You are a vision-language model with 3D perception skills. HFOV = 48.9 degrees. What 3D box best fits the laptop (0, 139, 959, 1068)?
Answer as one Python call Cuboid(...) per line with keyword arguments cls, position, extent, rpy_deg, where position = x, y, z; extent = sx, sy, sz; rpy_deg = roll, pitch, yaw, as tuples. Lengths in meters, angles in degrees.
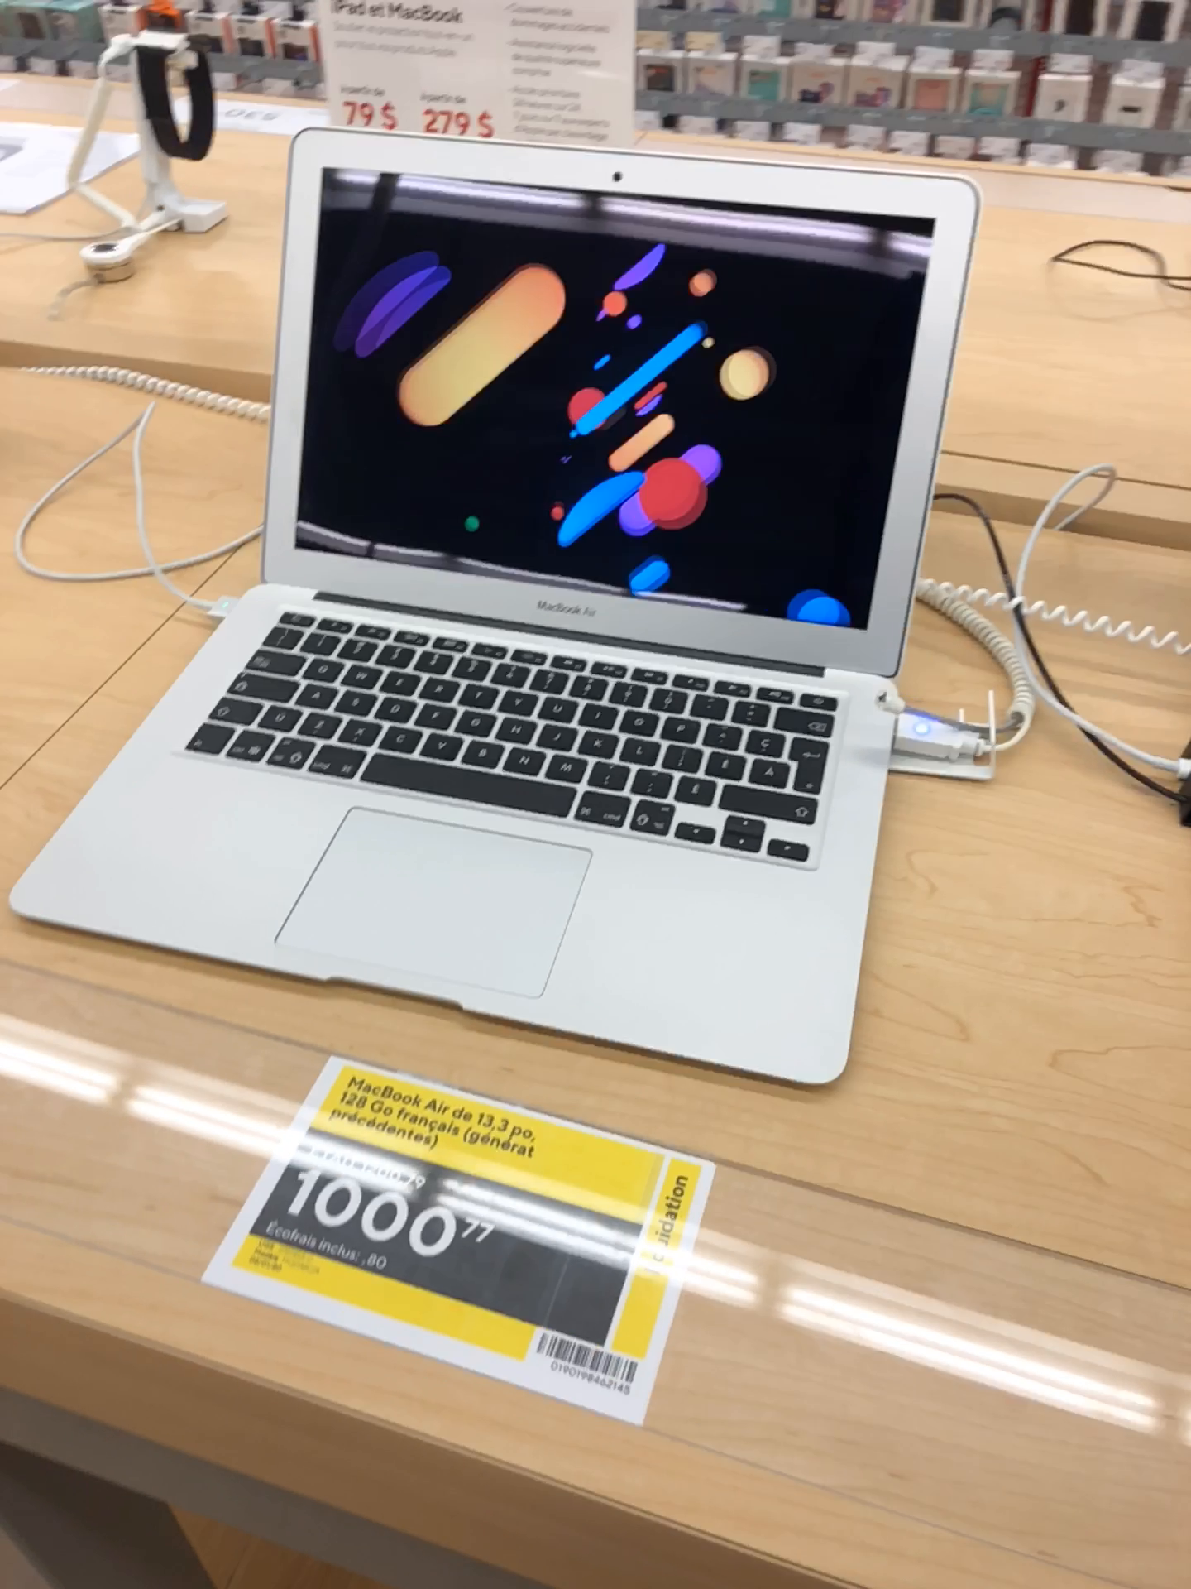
Cuboid(cls="laptop", position=(-0.033, -0.105, 0.518), extent=(0.305, 0.186, 0.326), rpy_deg=(9, 41, 9))
